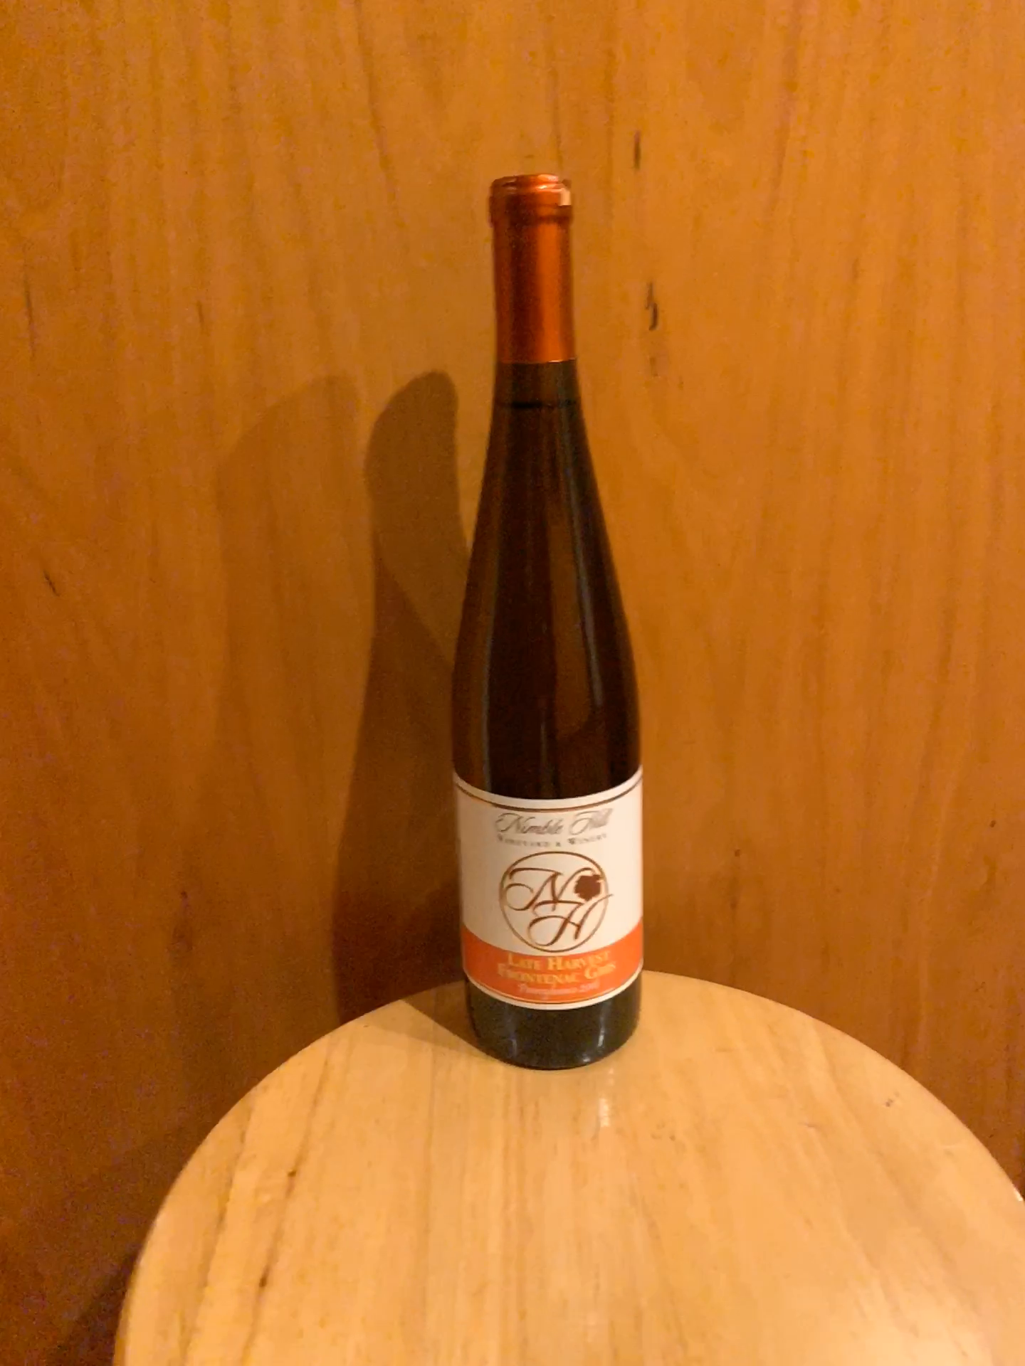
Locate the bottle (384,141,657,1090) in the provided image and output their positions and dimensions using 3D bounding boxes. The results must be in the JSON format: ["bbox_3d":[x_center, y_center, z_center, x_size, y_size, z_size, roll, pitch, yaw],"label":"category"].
[{"bbox_3d":[0.006,-0.011,0.387,0.080,0.329,0.060,-3,18,-3],"label":"bottle"}]
